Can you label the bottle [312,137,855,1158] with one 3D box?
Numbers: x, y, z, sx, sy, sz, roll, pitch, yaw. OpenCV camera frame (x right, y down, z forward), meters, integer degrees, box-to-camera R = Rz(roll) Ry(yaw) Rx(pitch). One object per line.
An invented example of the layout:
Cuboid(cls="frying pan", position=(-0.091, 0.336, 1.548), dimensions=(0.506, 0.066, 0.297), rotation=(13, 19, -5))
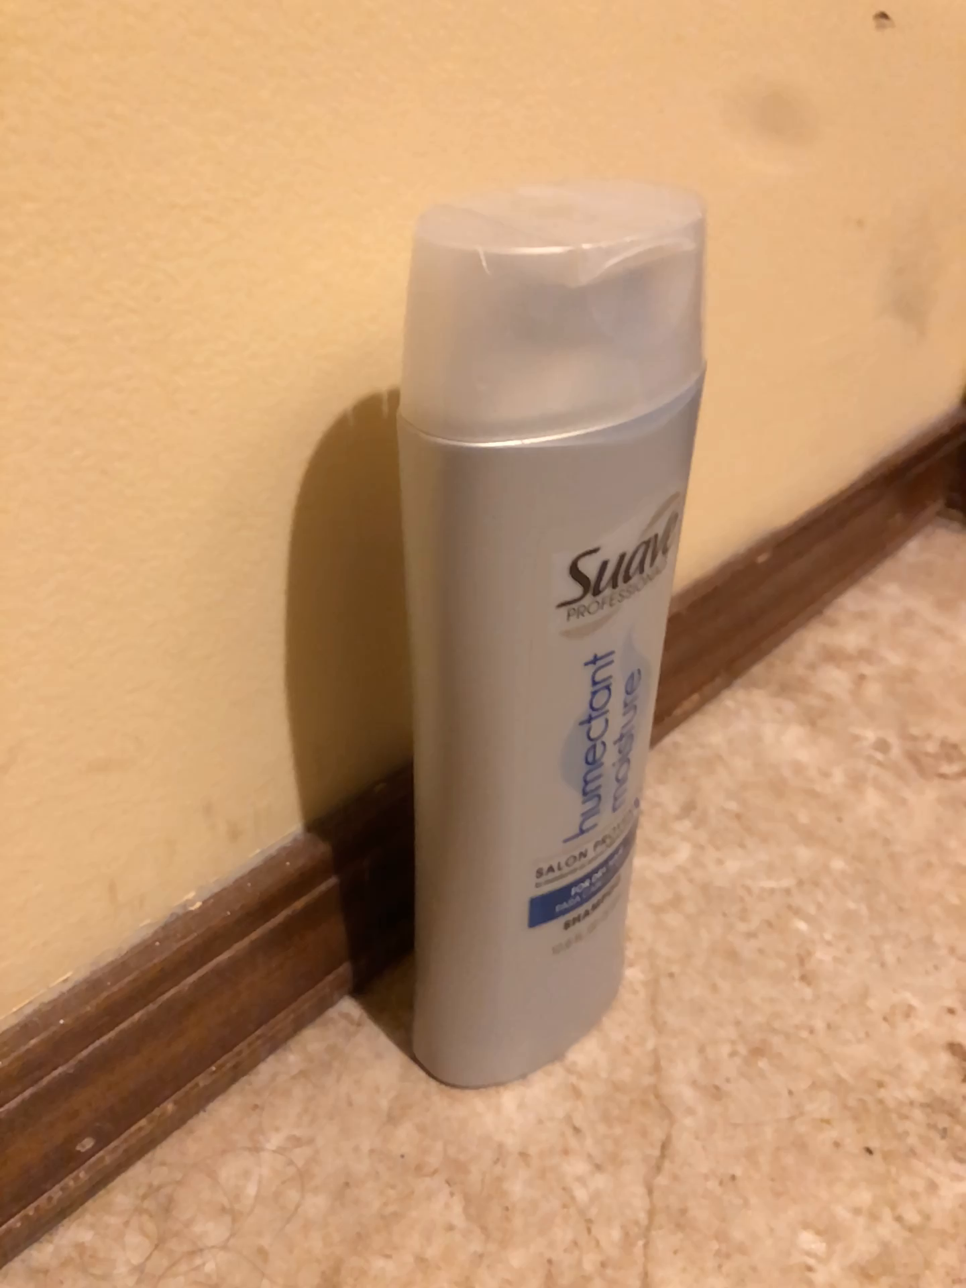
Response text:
Cuboid(cls="bottle", position=(0.015, 0.011, 0.238), dimensions=(0.050, 0.209, 0.080), rotation=(30, 43, 33))
